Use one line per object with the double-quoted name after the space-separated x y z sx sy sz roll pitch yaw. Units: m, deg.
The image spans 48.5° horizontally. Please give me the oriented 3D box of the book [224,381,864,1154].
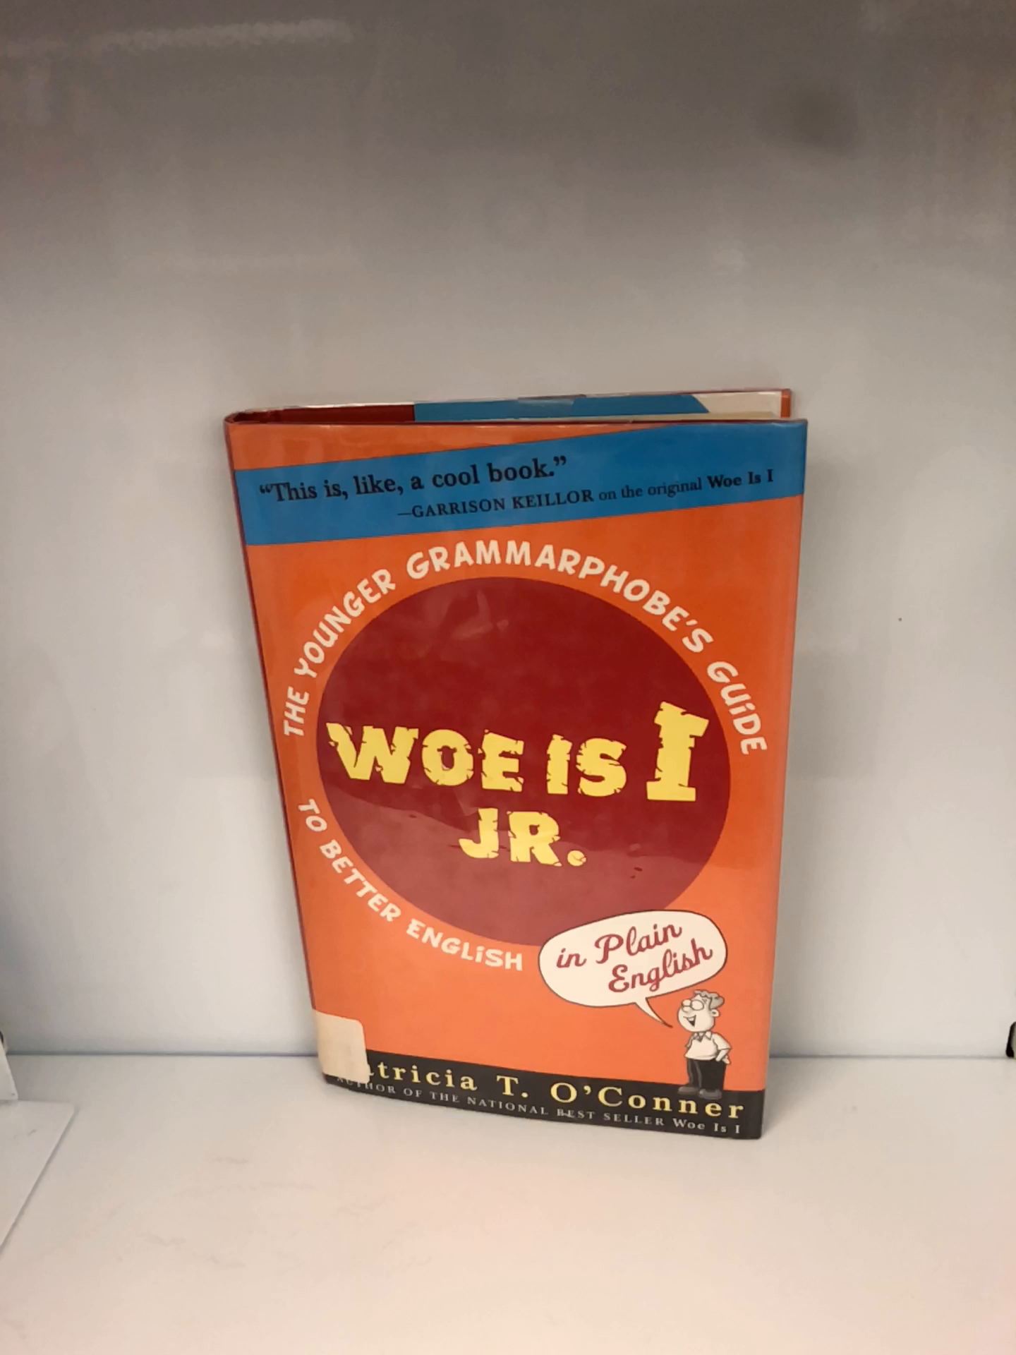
0.011 0.028 0.295 0.137 0.199 0.038 1 23 8 "book"
